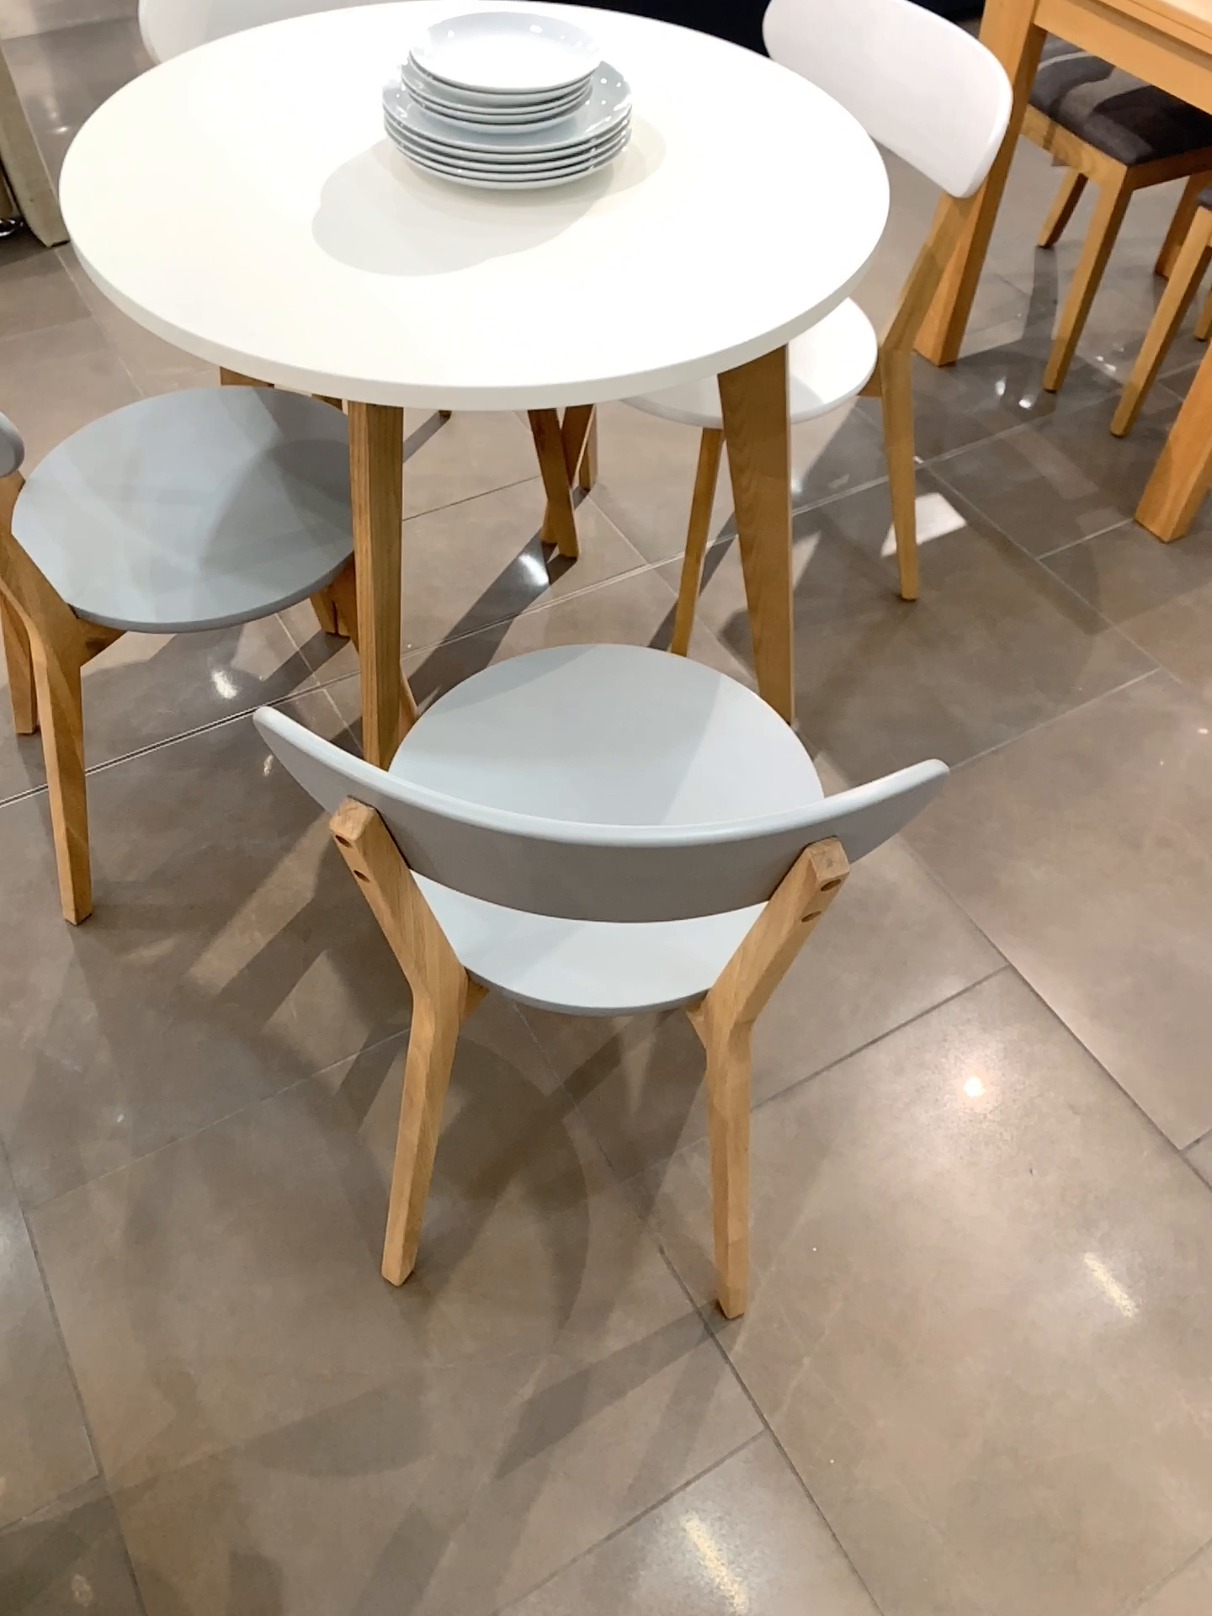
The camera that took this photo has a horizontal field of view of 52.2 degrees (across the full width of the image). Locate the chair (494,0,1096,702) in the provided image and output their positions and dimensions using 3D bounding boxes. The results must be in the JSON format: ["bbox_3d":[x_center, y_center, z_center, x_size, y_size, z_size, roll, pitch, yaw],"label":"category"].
[{"bbox_3d":[0.206,-0.690,1.827,0.541,0.799,0.522,-22,55,-19],"label":"chair"}]

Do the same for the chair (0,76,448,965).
[{"bbox_3d":[-0.578,-0.326,1.525,0.541,0.799,0.522,-23,55,-19],"label":"chair"}]

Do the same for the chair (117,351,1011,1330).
[{"bbox_3d":[-0.020,0.085,1.196,0.519,0.799,0.535,4,51,1],"label":"chair"}]
